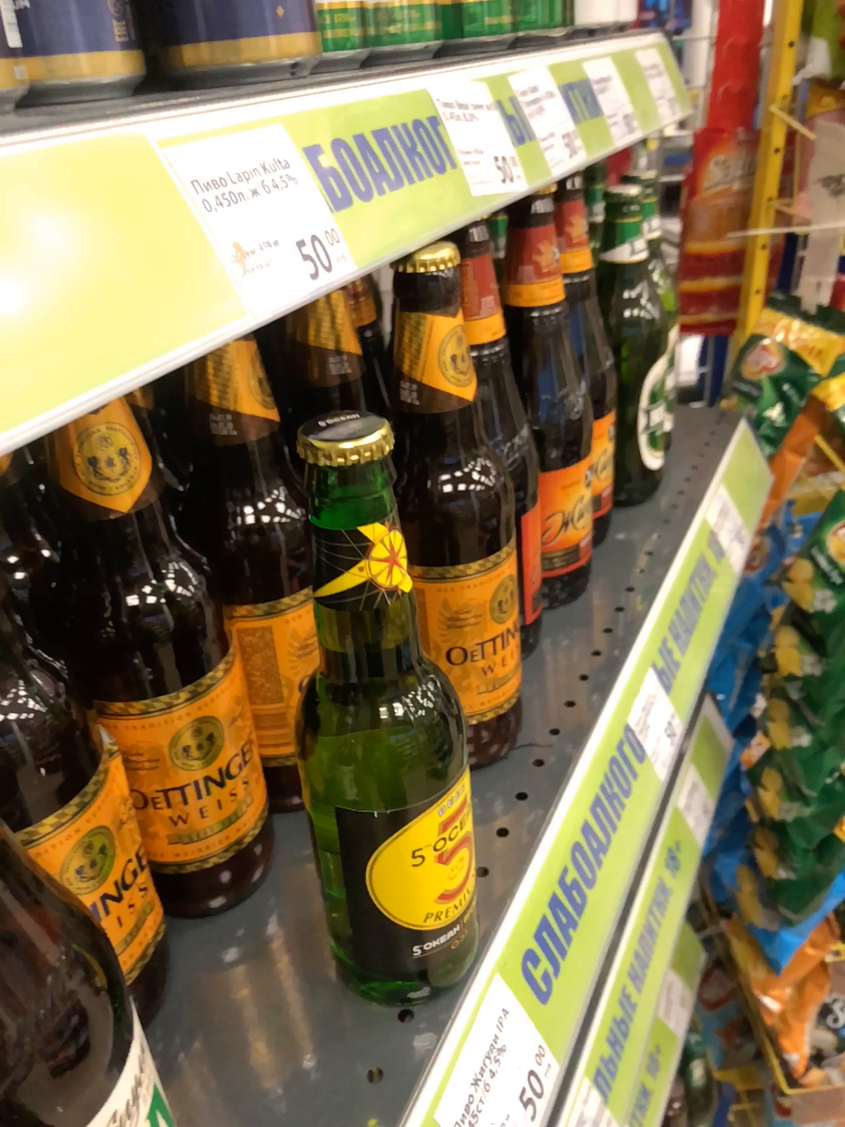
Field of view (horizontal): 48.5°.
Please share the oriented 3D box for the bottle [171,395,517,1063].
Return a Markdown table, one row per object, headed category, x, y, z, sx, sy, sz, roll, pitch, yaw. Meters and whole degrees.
| category | x | y | z | sx | sy | sz | roll | pitch | yaw |
| --- | --- | --- | --- | --- | --- | --- | --- | --- | --- |
| bottle | -0.016 | 0.059 | 0.318 | 0.070 | 0.210 | 0.070 | -3 | 29 | 1 |
